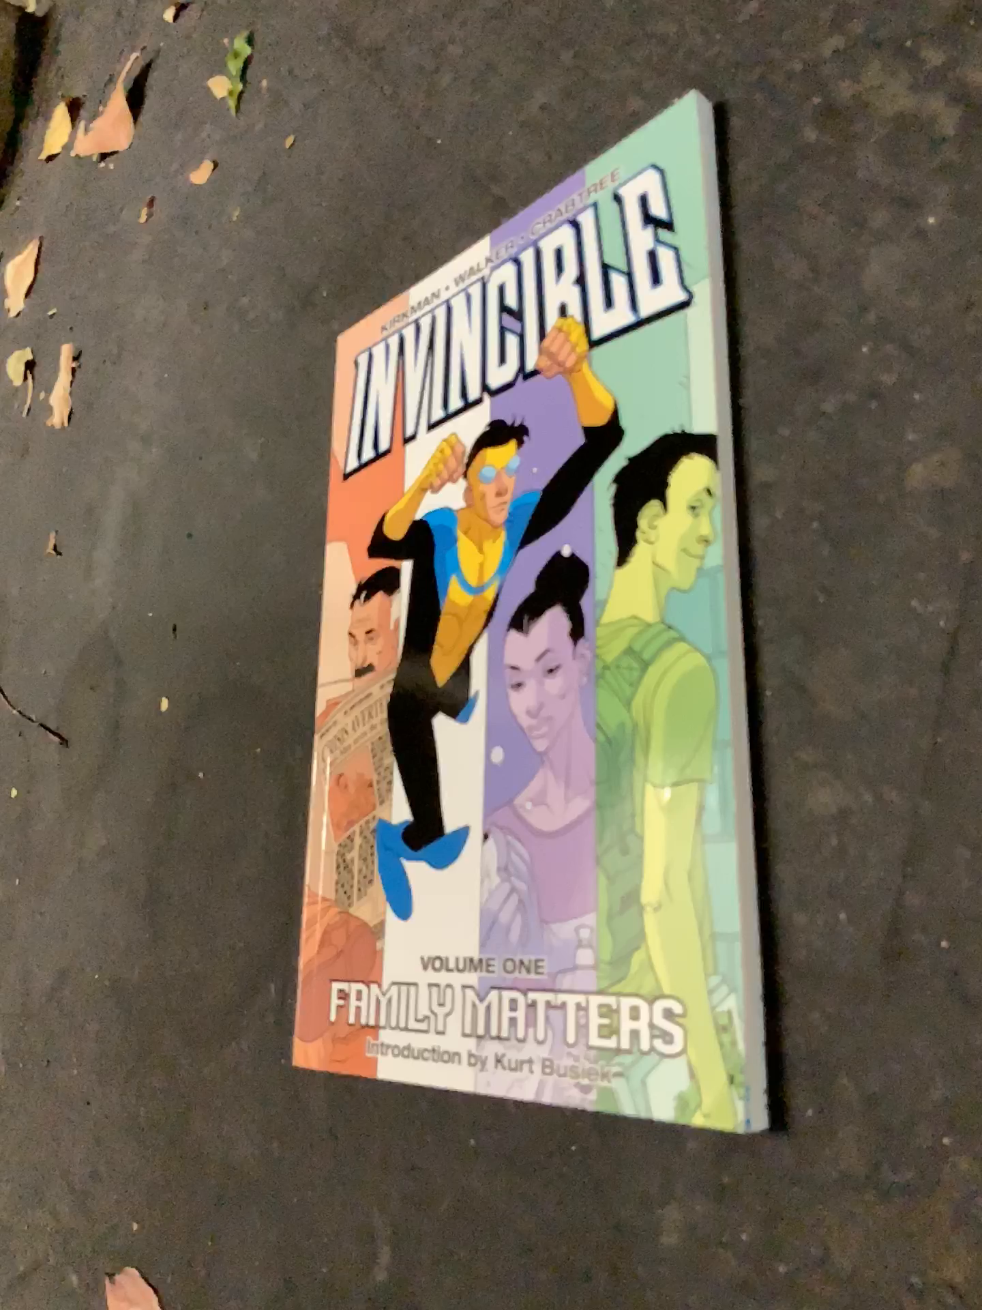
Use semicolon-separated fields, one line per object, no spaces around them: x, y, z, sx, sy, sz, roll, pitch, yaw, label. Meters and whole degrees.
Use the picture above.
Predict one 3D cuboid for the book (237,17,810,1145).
-0.002;-0.018;0.310;0.180;0.020;0.270;-17;63;44;book
